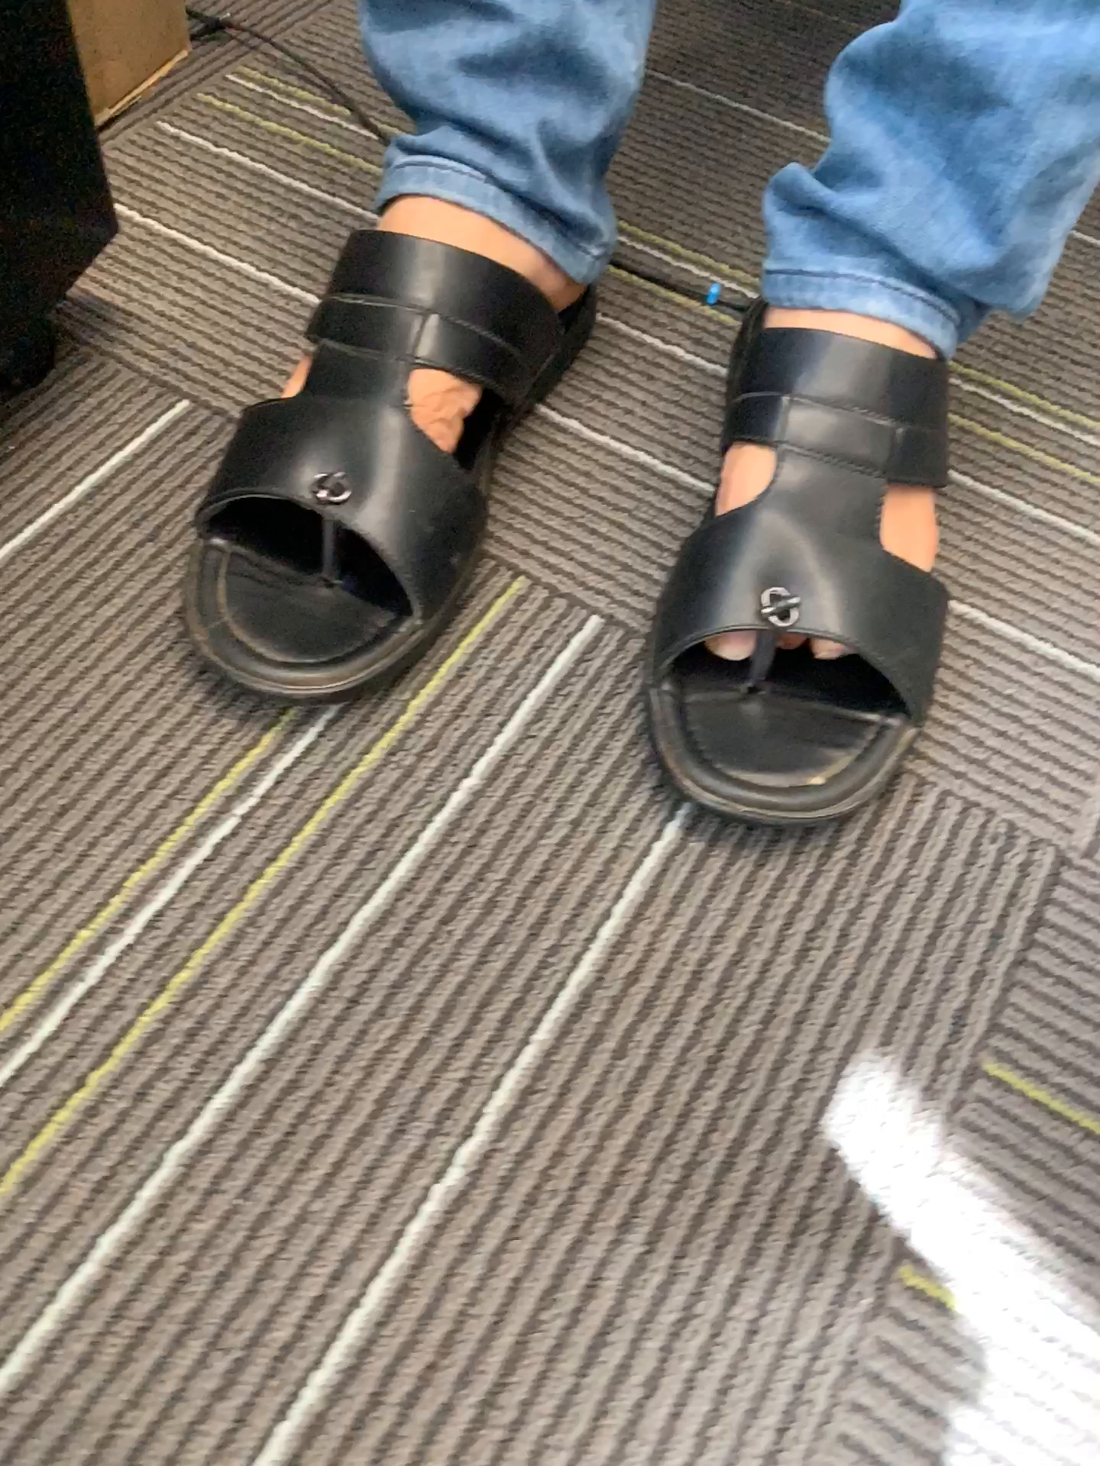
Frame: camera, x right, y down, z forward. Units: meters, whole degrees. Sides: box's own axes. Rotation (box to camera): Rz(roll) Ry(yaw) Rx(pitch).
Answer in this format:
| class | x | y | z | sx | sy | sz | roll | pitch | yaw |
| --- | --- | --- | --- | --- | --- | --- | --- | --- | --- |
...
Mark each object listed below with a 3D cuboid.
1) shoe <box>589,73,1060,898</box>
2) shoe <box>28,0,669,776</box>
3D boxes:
| class | x | y | z | sx | sy | sz | roll | pitch | yaw |
| --- | --- | --- | --- | --- | --- | --- | --- | --- | --- |
| shoe | 0.116 | -0.114 | 0.453 | 0.118 | 0.116 | 0.317 | 14 | 58 | 6 |
| shoe | -0.056 | -0.158 | 0.467 | 0.118 | 0.116 | 0.317 | 17 | 59 | 7 |
